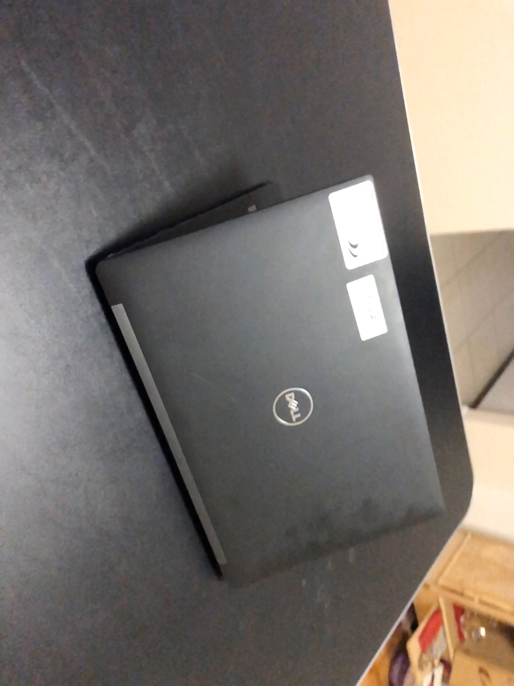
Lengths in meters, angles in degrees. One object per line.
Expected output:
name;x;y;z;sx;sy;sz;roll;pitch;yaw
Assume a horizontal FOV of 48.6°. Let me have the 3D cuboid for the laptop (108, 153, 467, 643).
laptop;0.051;0.035;0.505;0.221;0.142;0.319;-35;118;-39
